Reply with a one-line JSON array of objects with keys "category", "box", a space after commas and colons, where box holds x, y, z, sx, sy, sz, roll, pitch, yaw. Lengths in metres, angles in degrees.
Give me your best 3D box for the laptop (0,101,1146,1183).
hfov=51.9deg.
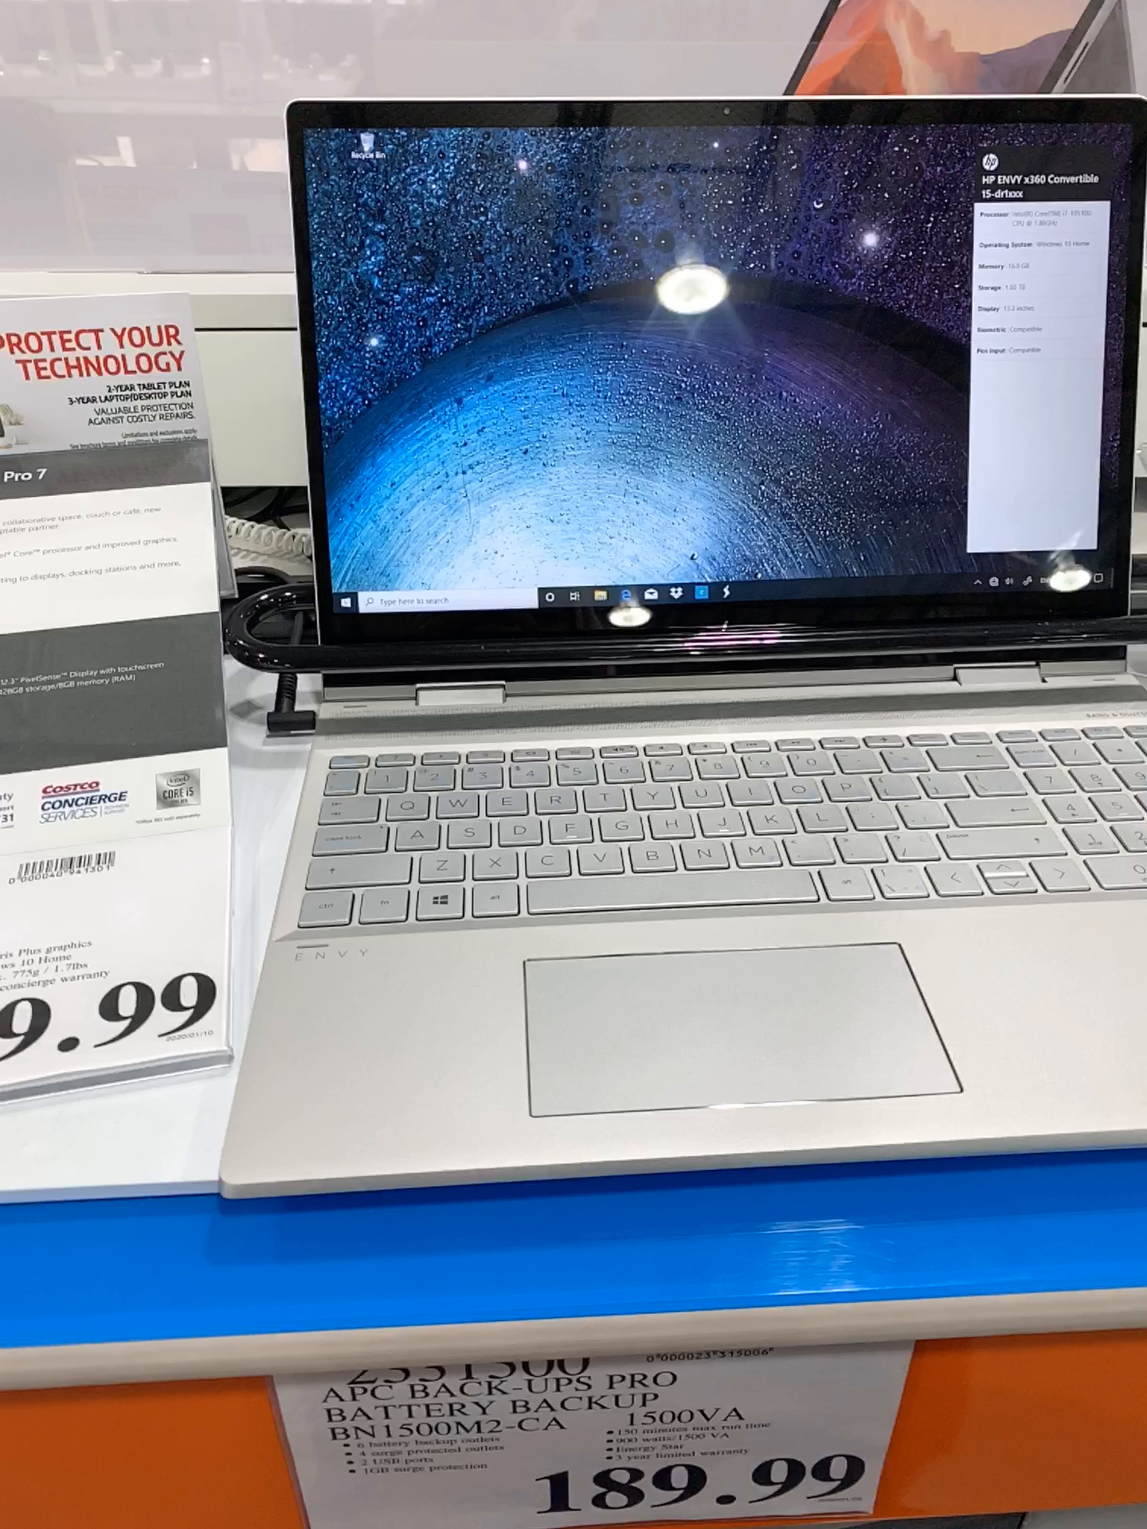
[{"category": "laptop", "box": [0.071, -0.084, 0.388, 0.346, 0.209, 0.341, -2, 34, -4]}]
